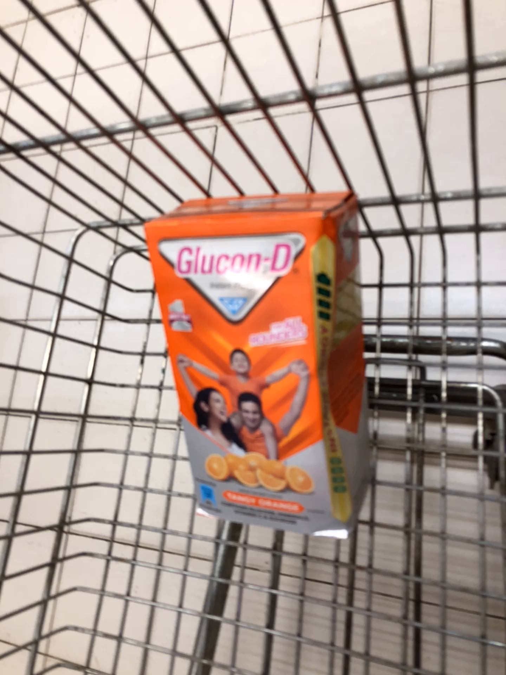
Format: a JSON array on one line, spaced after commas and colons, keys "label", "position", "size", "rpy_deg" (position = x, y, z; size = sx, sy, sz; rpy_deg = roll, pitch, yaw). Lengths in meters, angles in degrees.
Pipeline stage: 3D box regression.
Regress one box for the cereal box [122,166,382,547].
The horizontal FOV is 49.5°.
[{"label": "cereal box", "position": [0.011, 0.005, 0.358], "size": [0.120, 0.100, 0.210], "rpy_deg": [2, 108, 24]}]
